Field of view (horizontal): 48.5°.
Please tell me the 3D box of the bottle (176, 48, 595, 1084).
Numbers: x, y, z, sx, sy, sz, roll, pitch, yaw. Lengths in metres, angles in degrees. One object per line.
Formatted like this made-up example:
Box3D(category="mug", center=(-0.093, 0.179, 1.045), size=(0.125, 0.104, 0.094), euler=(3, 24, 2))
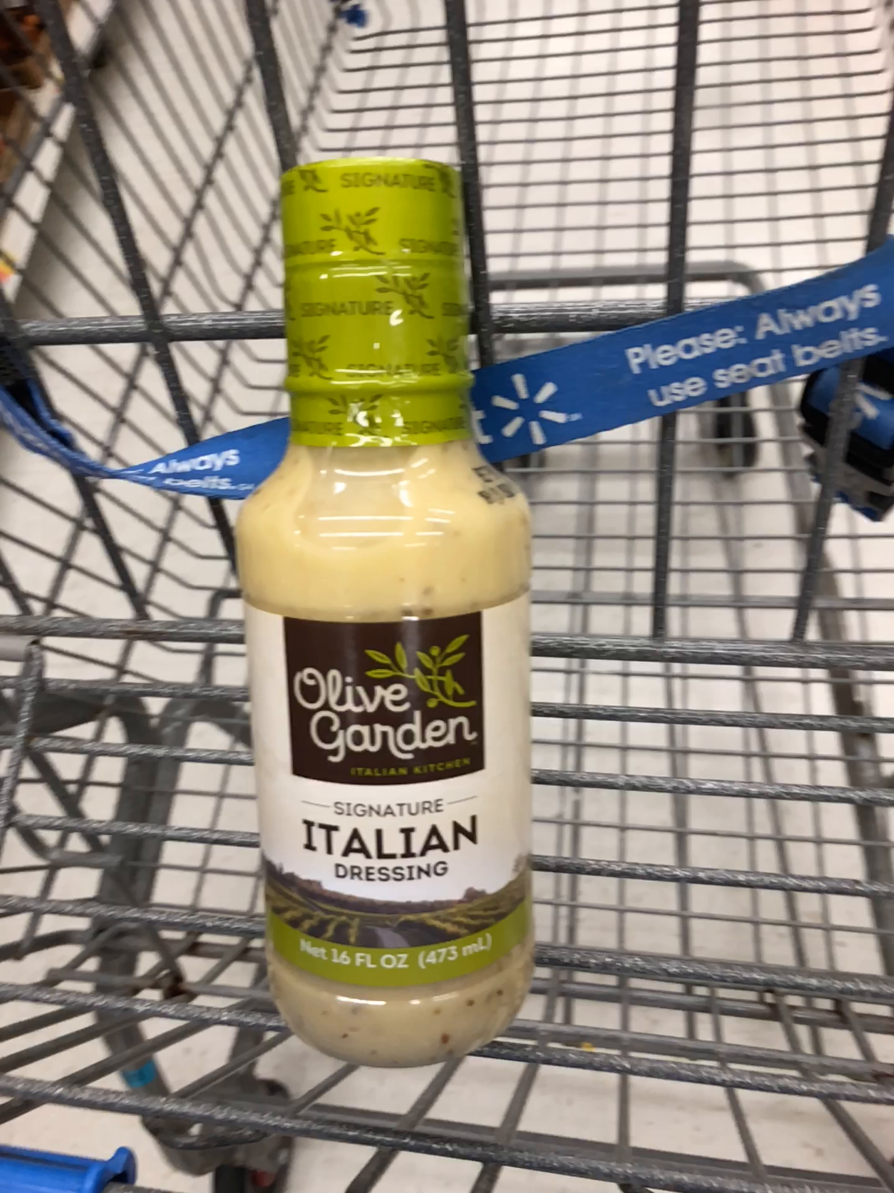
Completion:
Box3D(category="bottle", center=(-0.012, -0.005, 0.238), size=(0.080, 0.070, 0.210), euler=(-2, 95, -3))
